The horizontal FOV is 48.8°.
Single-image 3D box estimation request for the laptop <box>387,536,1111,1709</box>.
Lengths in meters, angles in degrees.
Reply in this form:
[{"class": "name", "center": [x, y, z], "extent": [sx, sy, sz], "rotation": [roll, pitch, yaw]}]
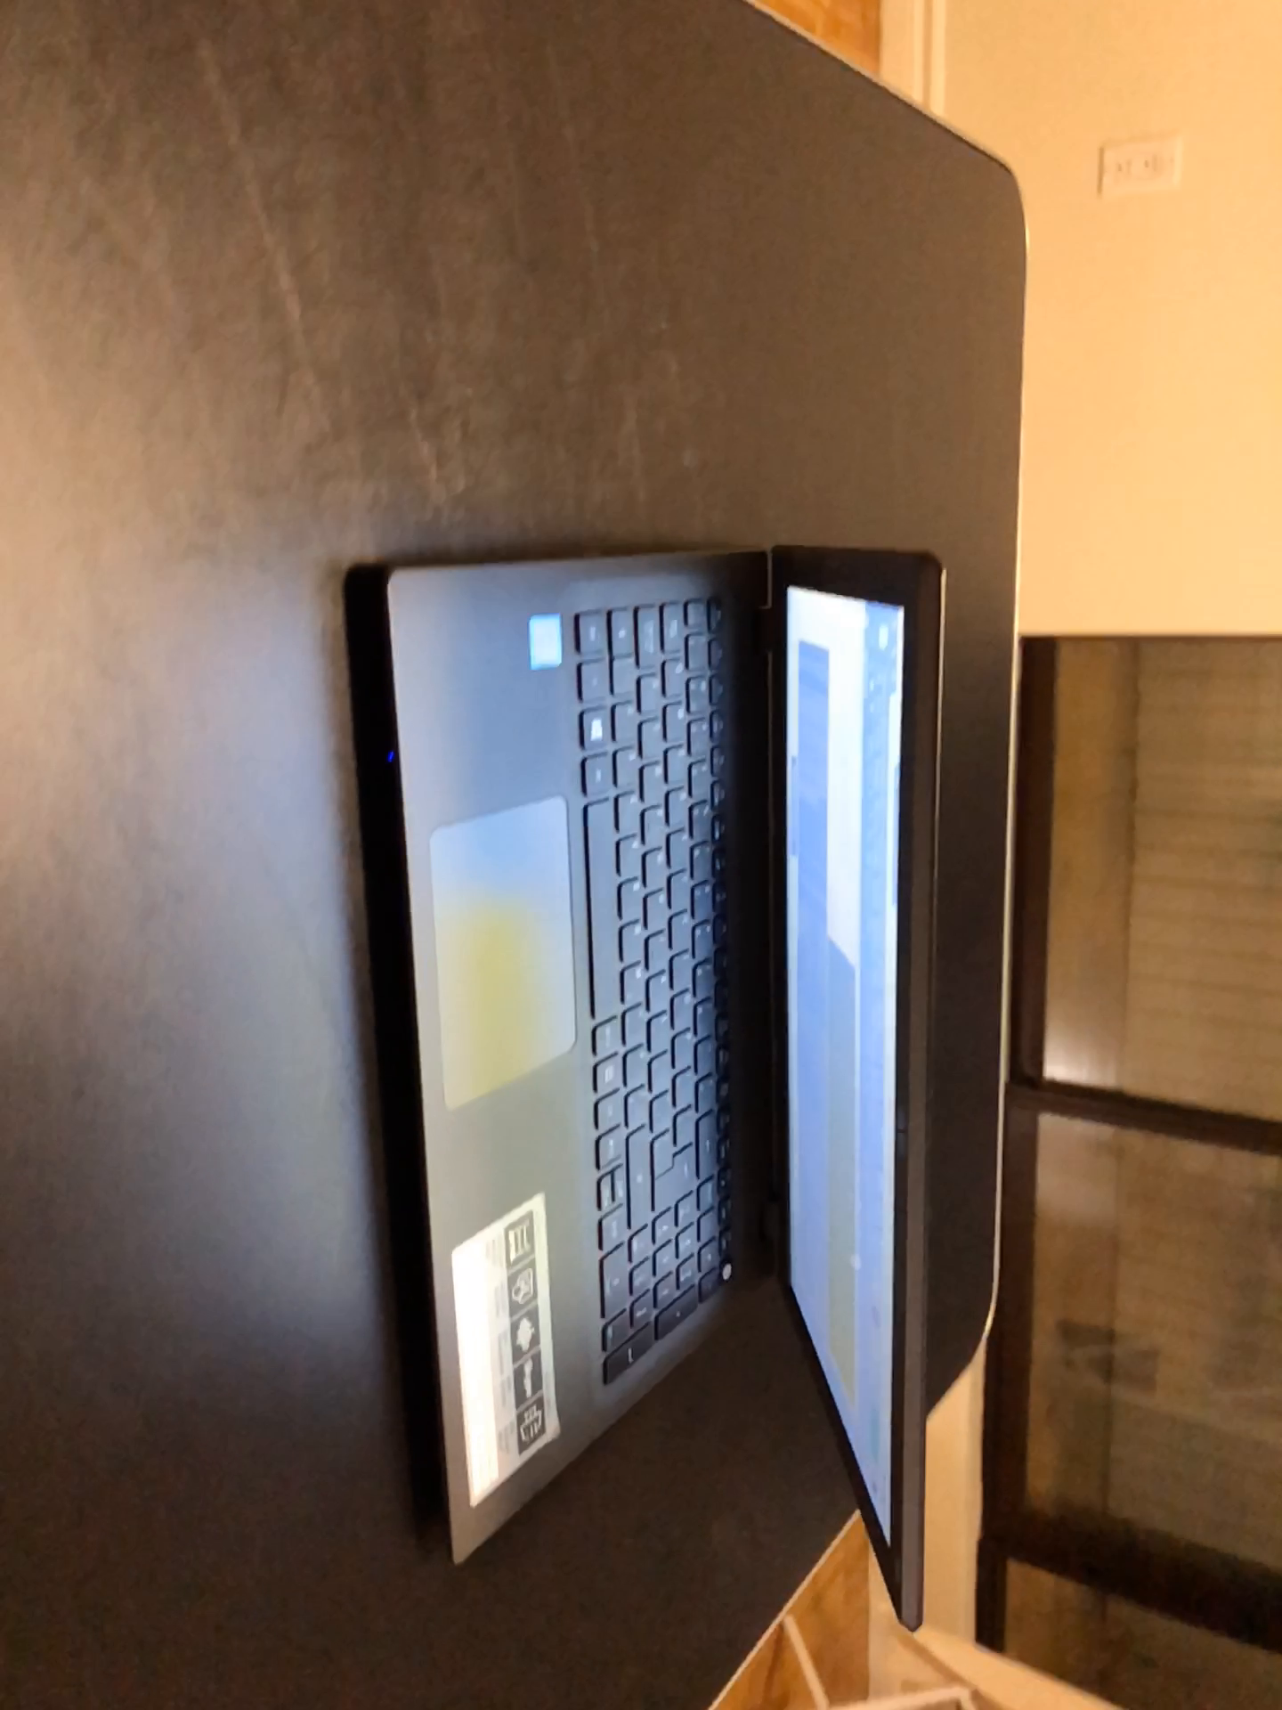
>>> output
[{"class": "laptop", "center": [0.060, 0.070, 0.555], "extent": [0.252, 0.155, 0.369], "rotation": [-20, 112, -54]}]
